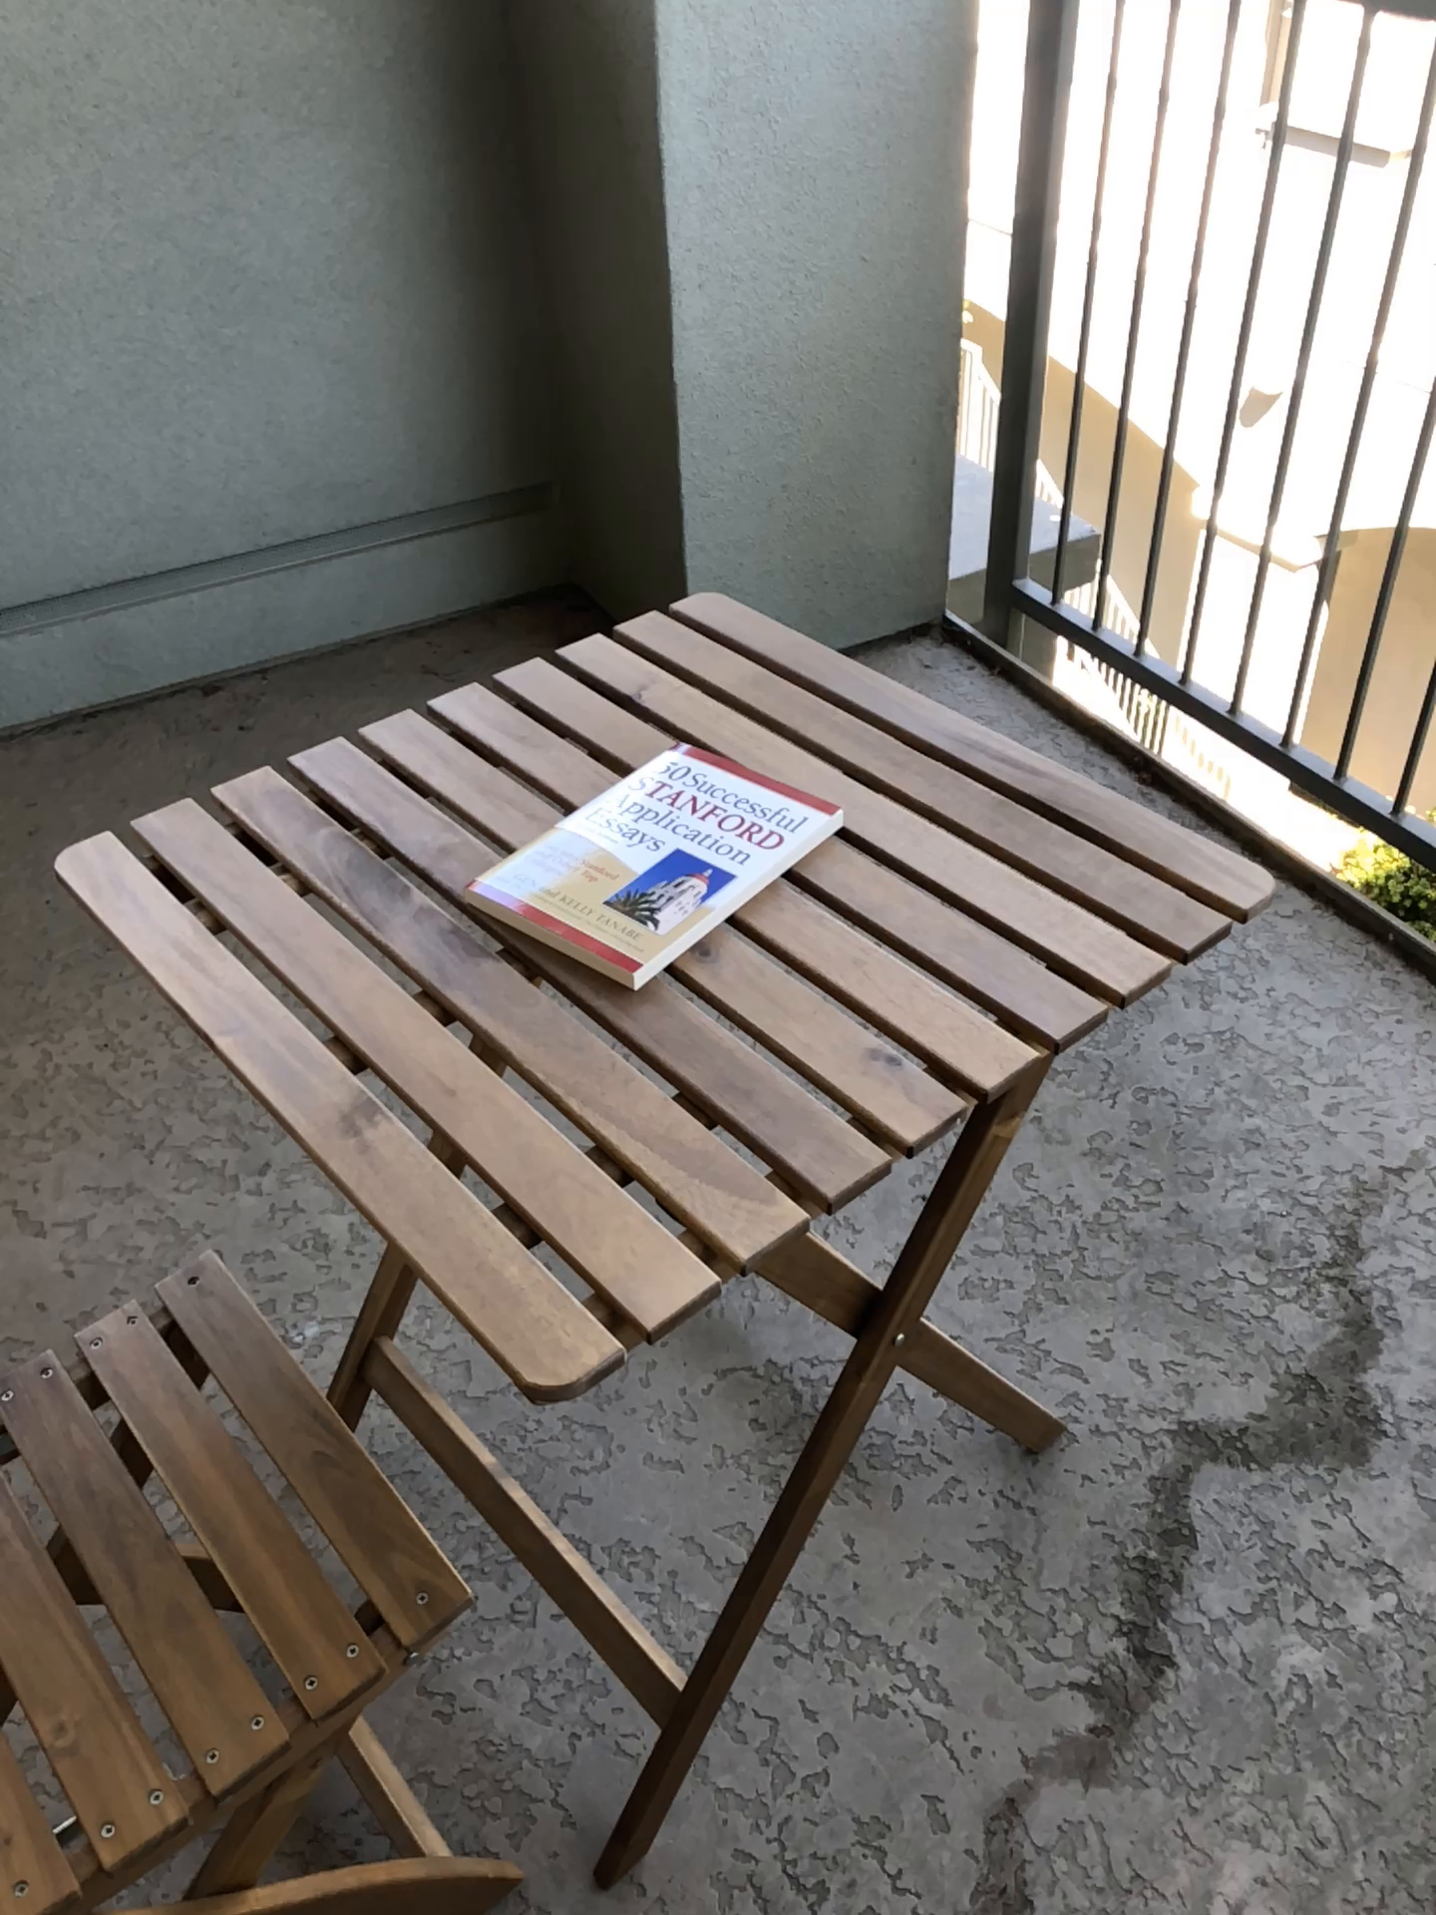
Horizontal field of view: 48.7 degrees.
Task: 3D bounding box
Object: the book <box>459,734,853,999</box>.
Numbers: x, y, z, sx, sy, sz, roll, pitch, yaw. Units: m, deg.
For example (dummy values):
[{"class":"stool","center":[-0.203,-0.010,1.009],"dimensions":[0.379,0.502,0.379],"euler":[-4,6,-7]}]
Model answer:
[{"class":"book","center":[-0.038,-0.070,1.067],"dimensions":[0.157,0.020,0.224],"euler":[26,47,30]}]
